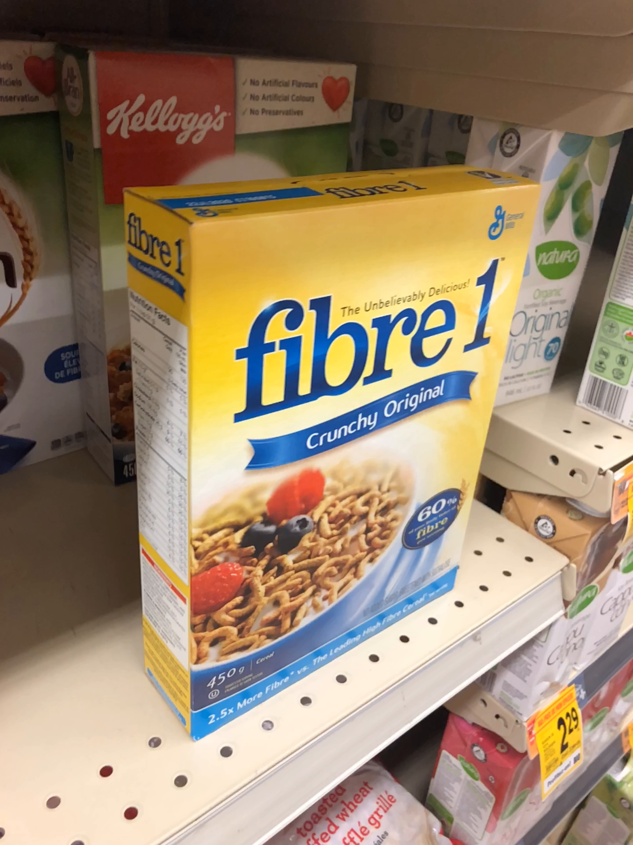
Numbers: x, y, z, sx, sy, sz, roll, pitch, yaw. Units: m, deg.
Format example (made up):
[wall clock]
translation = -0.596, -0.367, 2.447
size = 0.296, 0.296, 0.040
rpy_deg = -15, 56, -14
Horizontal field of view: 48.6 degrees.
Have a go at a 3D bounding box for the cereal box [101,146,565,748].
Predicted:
[cereal box]
translation = 0.009, 0.006, 0.365
size = 0.211, 0.268, 0.060
rpy_deg = -18, 37, -36
